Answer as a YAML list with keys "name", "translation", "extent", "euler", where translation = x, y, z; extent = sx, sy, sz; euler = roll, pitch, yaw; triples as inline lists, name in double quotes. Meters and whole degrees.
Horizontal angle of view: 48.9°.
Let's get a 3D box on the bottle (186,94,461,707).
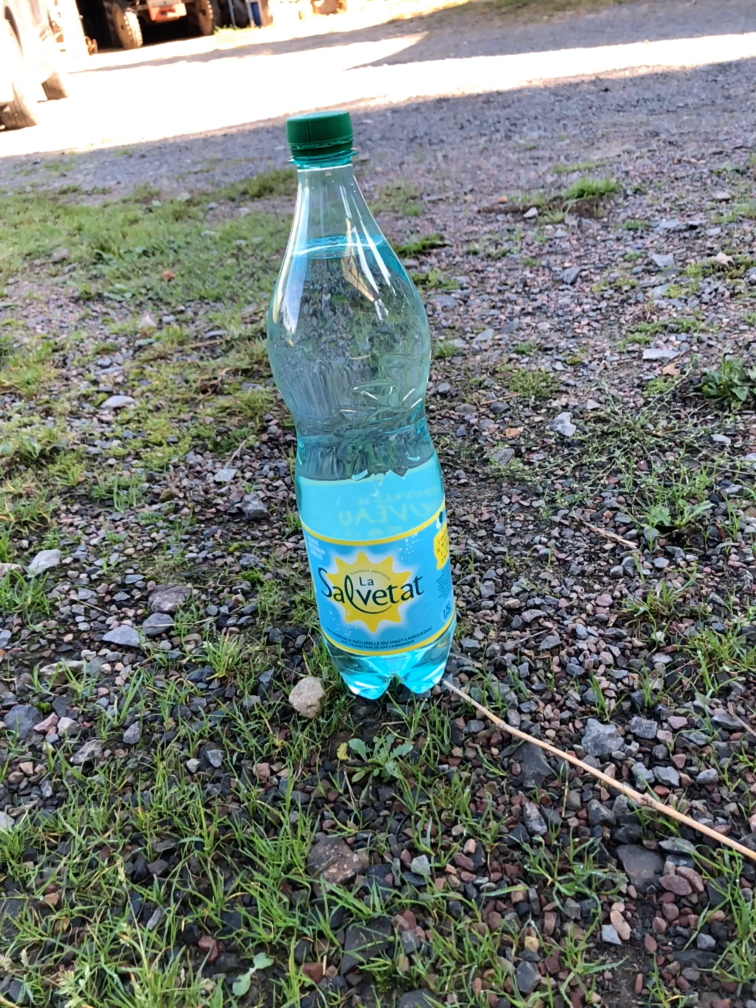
- name: "bottle"
  translation: [-0.011, -0.042, 0.437]
  extent: [0.090, 0.298, 0.101]
  euler: [-1, 29, 10]
